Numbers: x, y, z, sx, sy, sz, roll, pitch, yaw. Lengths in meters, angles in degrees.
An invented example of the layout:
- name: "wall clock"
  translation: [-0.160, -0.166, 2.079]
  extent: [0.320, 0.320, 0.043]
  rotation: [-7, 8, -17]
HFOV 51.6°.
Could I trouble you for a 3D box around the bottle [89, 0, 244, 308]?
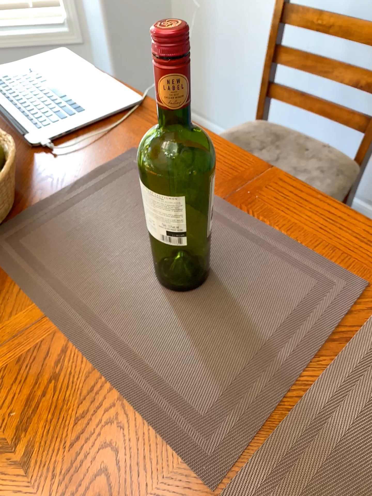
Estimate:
- name: "bottle"
  translation: [-0.012, -0.074, 0.409]
  extent: [0.080, 0.307, 0.090]
  rotation: [-33, 55, -25]
